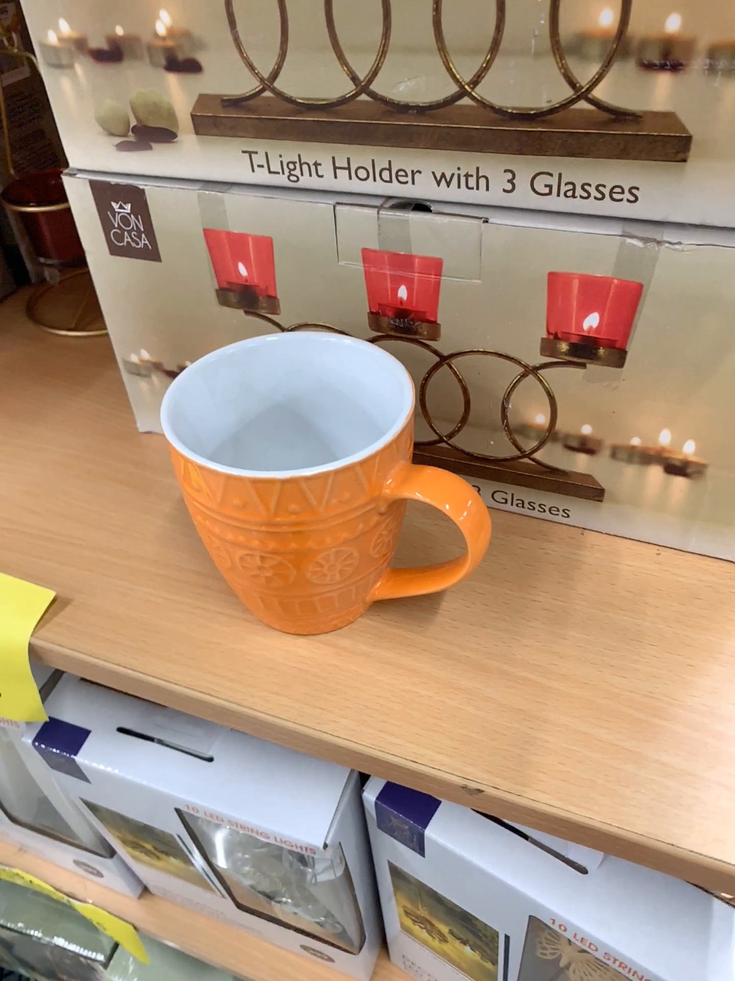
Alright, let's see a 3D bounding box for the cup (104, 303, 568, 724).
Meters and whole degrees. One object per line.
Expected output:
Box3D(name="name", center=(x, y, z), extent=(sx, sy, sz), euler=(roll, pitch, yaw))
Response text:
Box3D(name="cup", center=(-0.008, 0.001, 0.262), extent=(0.120, 0.080, 0.080), euler=(19, 45, 22))
